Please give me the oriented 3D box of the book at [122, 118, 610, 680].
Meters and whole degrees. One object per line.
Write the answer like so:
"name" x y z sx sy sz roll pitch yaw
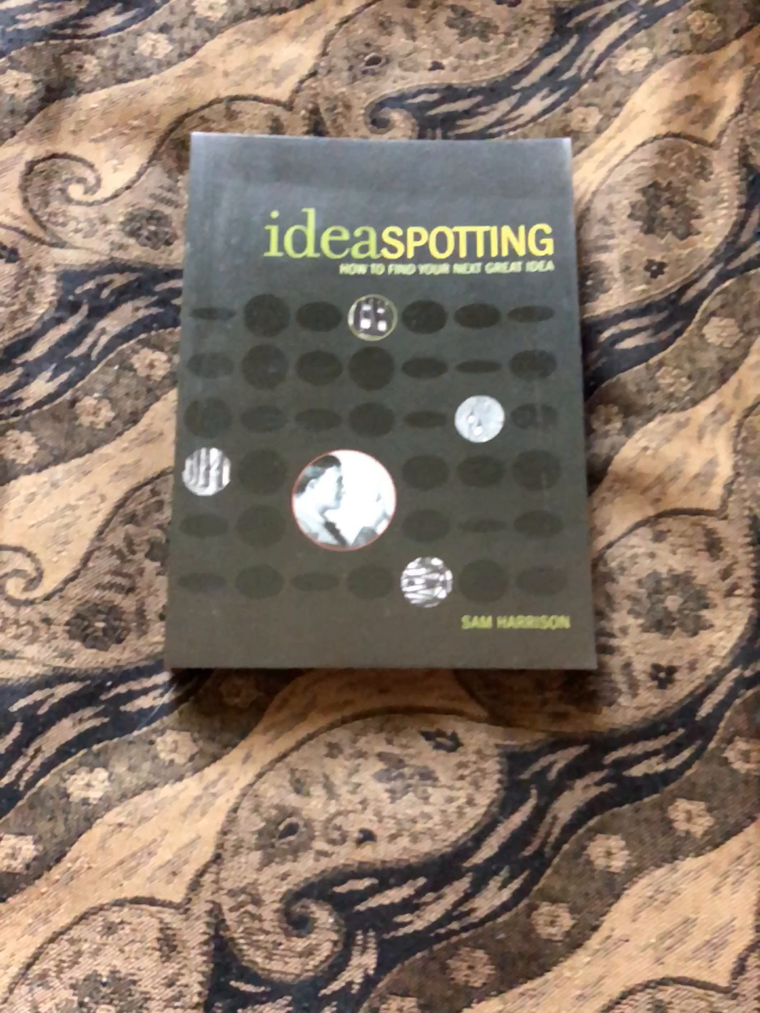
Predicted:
"book" -0.004 -0.035 0.283 0.140 0.040 0.180 0 78 -1
